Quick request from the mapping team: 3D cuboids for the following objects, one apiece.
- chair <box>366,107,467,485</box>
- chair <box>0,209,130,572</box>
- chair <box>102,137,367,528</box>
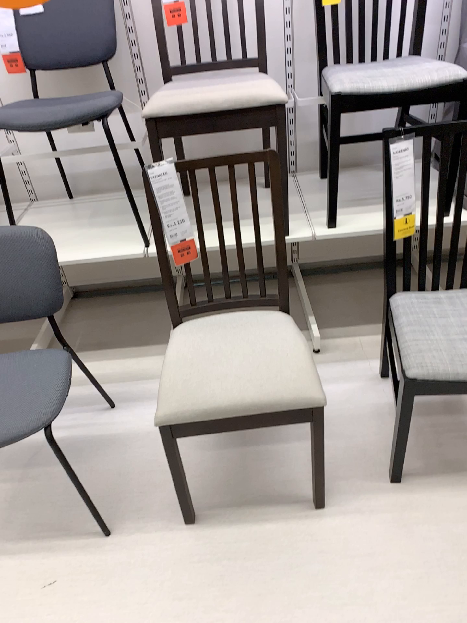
[{"bbox_3d":[0.692,-0.012,1.355,0.480,0.916,0.532,-3,36,7],"label":"chair"},{"bbox_3d":[-0.701,0.225,1.416,0.570,0.786,0.613,-9,36,-2],"label":"chair"},{"bbox_3d":[0.034,0.081,1.335,0.480,0.916,0.532,-7,36,1],"label":"chair"}]
